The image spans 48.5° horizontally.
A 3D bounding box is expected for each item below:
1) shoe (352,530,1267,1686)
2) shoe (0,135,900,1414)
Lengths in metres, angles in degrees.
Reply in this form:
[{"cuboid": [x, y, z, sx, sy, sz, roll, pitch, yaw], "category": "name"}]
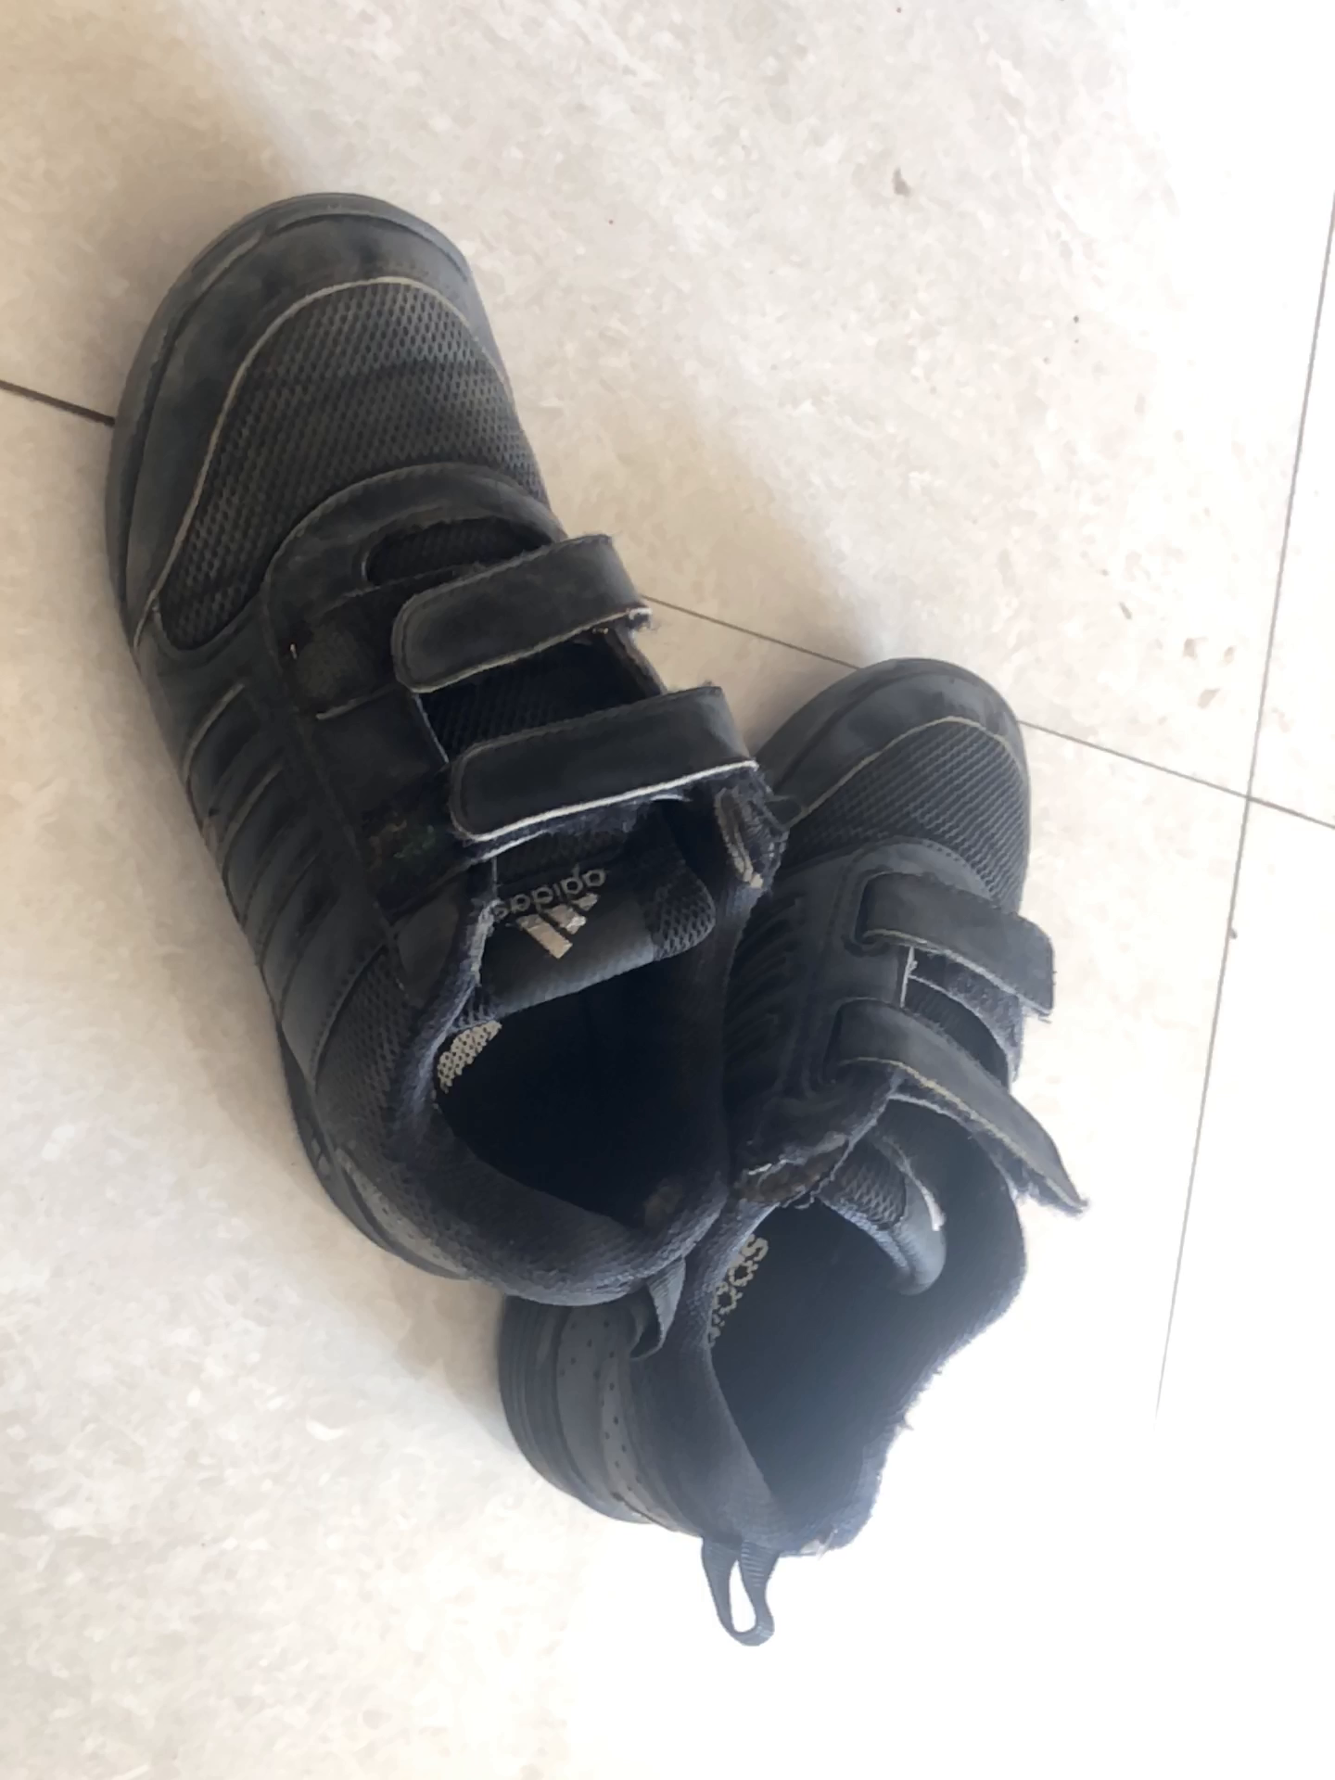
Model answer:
[{"cuboid": [0.036, 0.043, 0.351, 0.100, 0.100, 0.220, 33, 75, -29], "category": "shoe"}, {"cuboid": [-0.039, -0.024, 0.289, 0.100, 0.080, 0.200, -21, 103, -30], "category": "shoe"}]
